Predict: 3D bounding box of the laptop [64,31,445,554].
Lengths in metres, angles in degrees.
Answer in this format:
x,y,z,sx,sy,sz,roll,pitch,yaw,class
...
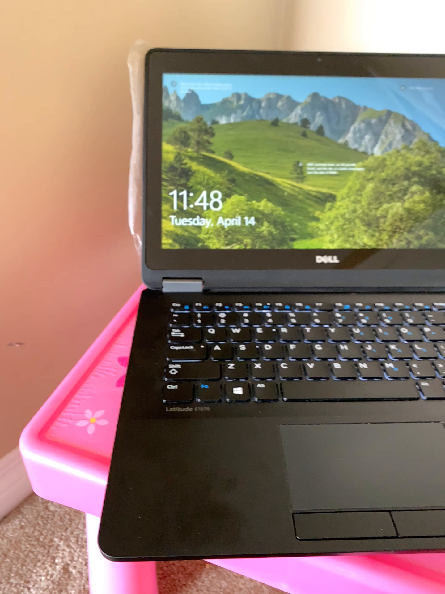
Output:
x,y,z,sx,sy,sz,roll,pitch,yaw,class
0.081,-0.045,0.271,0.261,0.121,0.303,0,42,-4,laptop
